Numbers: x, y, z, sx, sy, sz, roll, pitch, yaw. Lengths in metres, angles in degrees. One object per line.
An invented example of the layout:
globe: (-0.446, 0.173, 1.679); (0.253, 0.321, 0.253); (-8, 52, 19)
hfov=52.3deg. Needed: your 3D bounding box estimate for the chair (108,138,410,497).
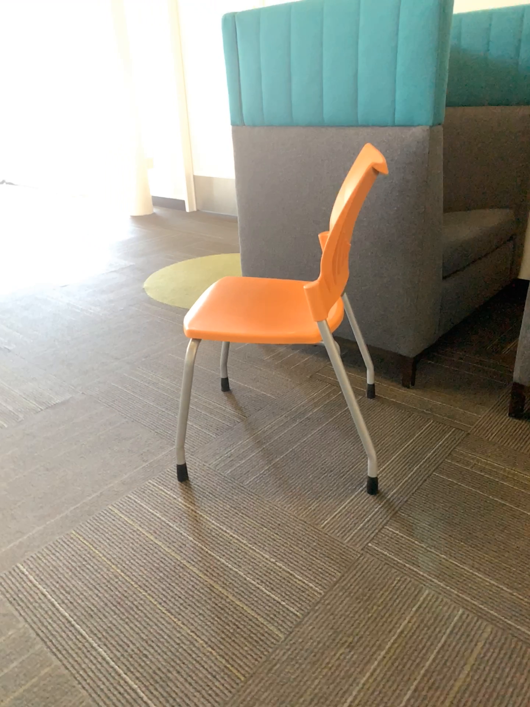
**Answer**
chair: (0.035, -0.143, 1.536); (0.610, 0.805, 0.643); (1, 26, 8)
